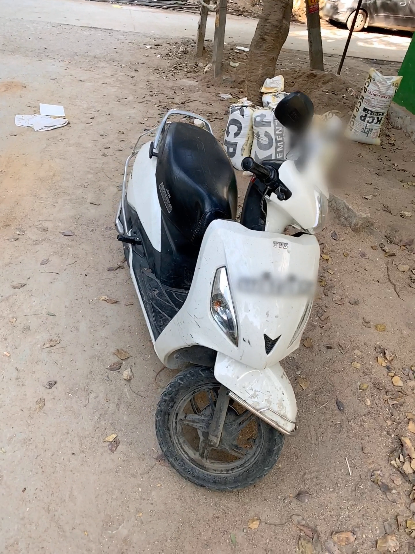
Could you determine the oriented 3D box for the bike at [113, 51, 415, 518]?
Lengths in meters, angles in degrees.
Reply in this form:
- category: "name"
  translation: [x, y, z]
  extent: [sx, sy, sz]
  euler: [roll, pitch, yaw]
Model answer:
- category: "bike"
  translation: [0.136, -0.106, 1.738]
  extent: [0.687, 1.066, 1.465]
  euler: [-9, 43, -23]
